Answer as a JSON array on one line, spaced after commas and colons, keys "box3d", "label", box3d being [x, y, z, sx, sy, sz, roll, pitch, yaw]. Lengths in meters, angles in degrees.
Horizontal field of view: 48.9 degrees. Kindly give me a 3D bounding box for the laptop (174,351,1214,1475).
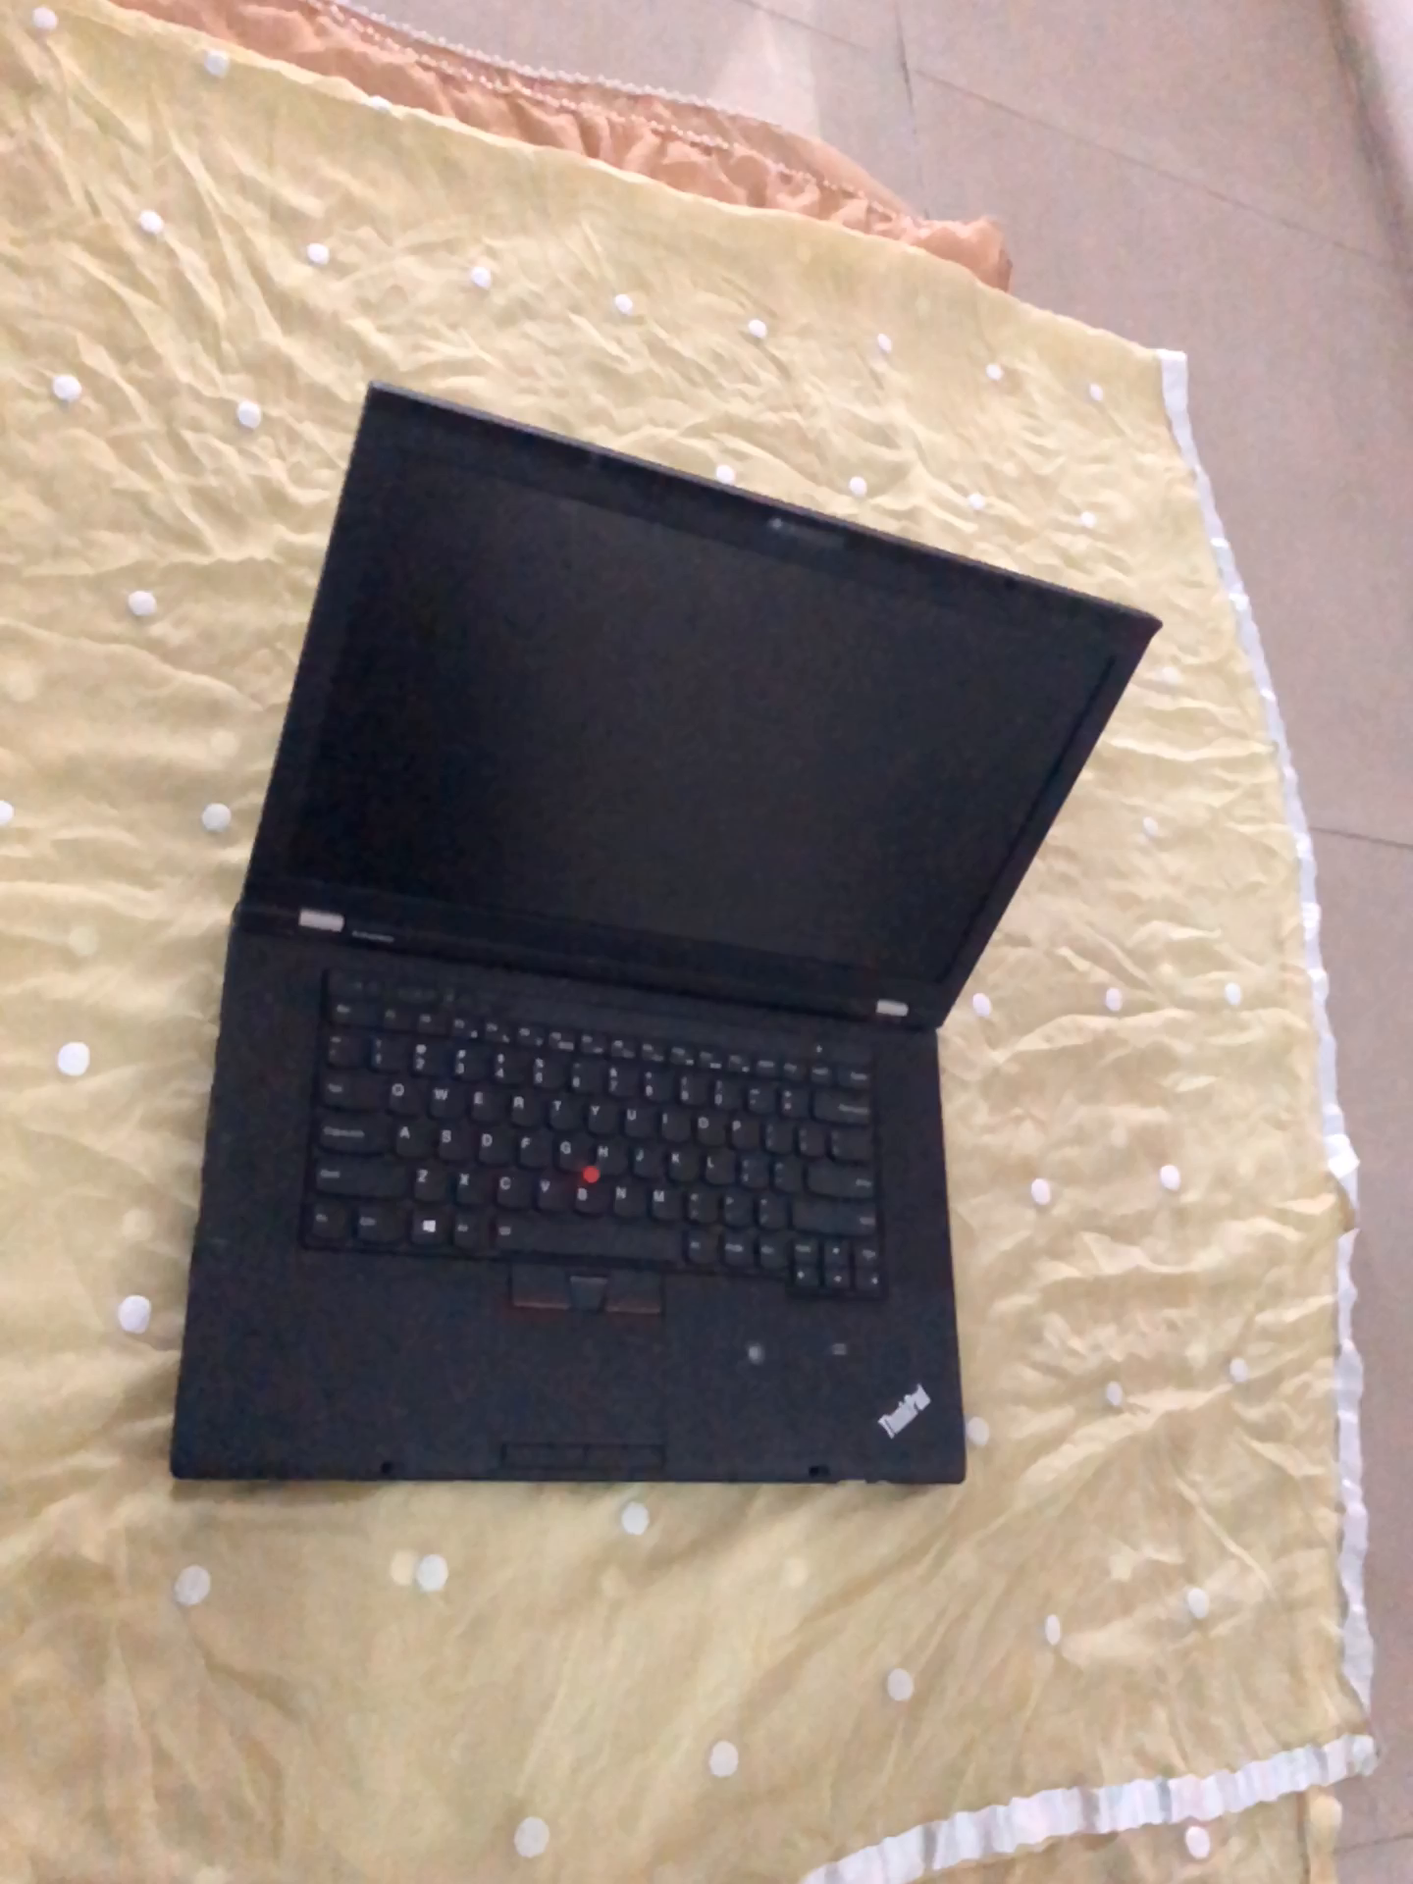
[{"box3d": [-0.004, 0.022, 0.671, 0.364, 0.191, 0.381, 9, 69, -24], "label": "laptop"}]
